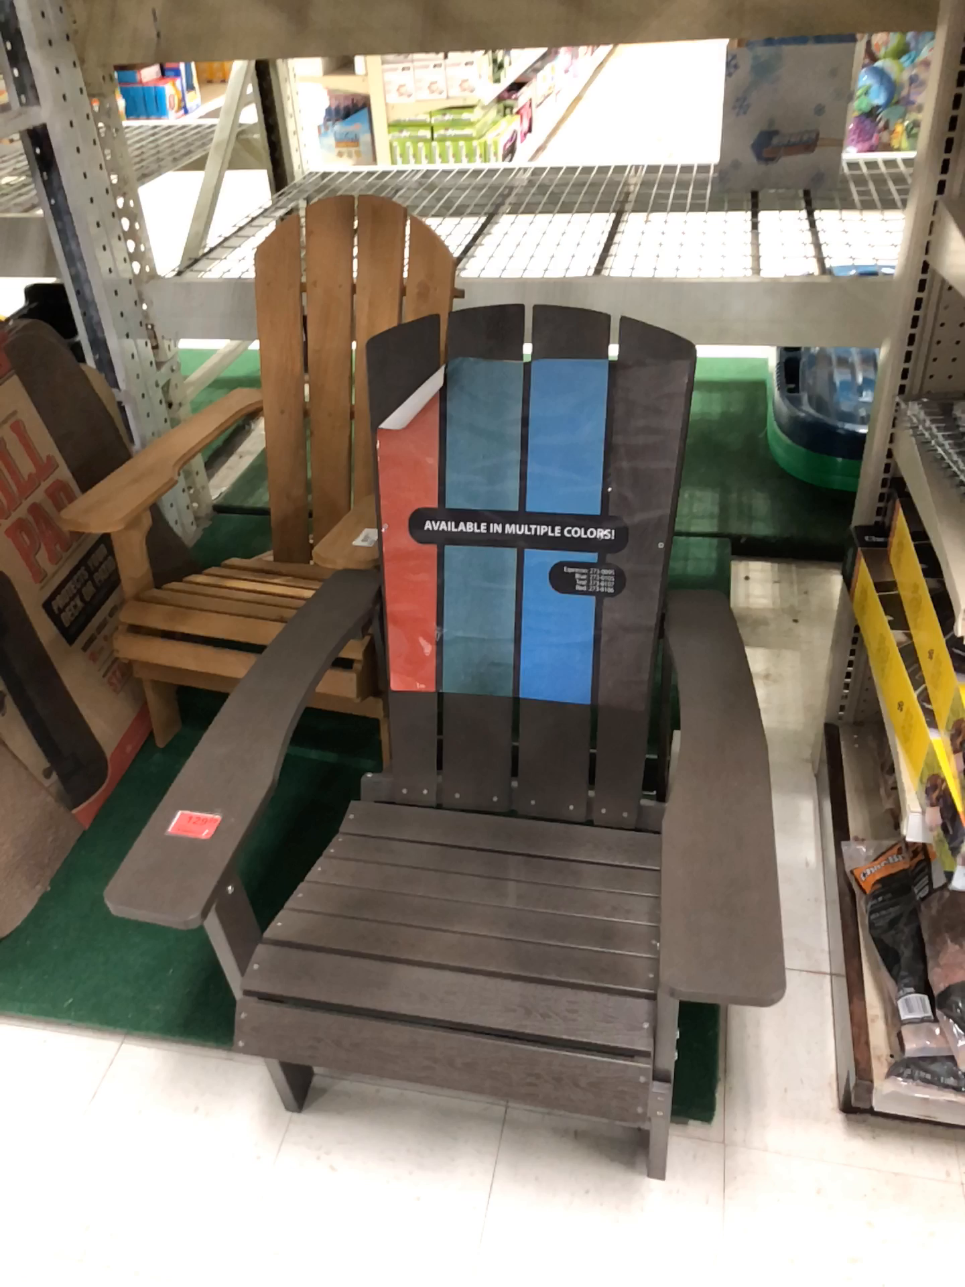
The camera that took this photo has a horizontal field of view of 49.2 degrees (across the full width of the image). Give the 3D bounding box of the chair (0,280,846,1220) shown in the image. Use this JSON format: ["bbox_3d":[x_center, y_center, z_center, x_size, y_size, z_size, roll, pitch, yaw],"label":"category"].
[{"bbox_3d":[0.037,0.061,1.451,0.717,0.816,0.919,5,37,12],"label":"chair"}]

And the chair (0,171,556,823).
[{"bbox_3d":[-0.295,-0.352,2.062,0.637,0.846,0.979,8,38,16],"label":"chair"}]
